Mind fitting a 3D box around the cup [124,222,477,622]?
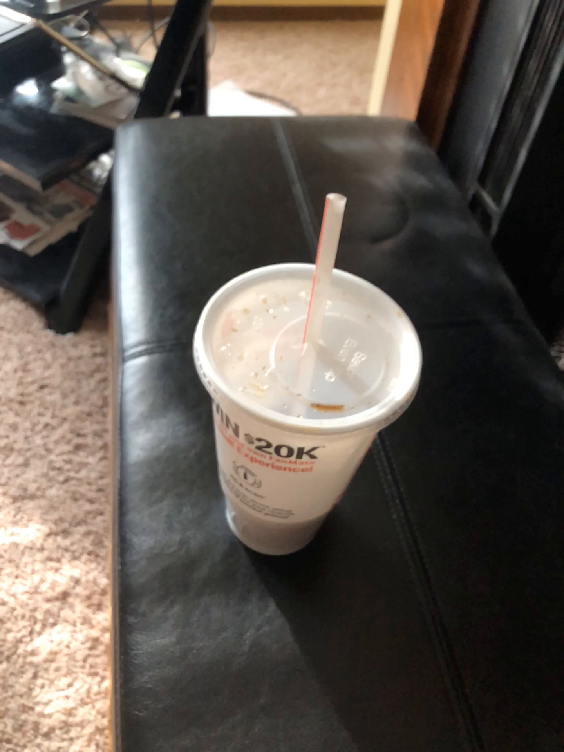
[{"bbox_3d":[0.004,0.027,0.348,0.120,0.150,0.110,3,51,-3],"label":"cup"}]
